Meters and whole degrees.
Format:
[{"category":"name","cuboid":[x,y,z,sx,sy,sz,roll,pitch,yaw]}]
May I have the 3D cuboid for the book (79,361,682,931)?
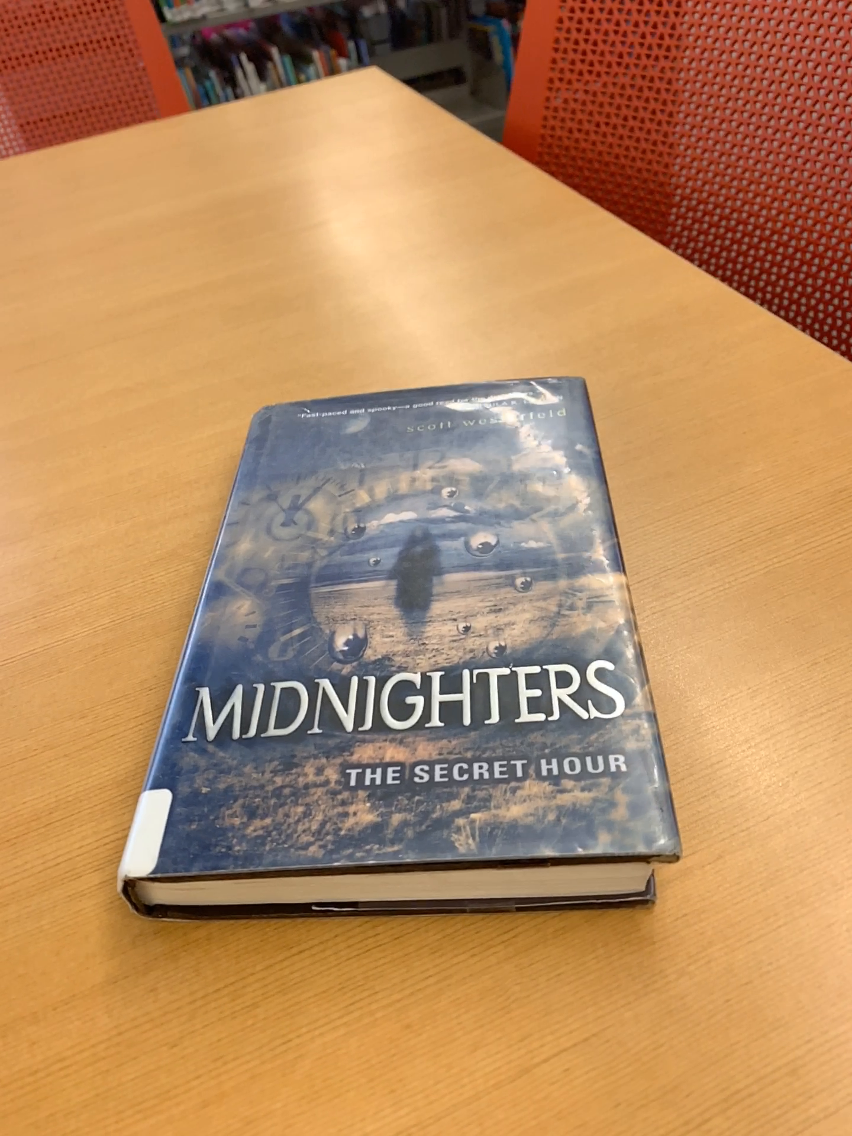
[{"category":"book","cuboid":[-0.009,0.009,0.307,0.150,0.040,0.215,-4,44,6]}]
